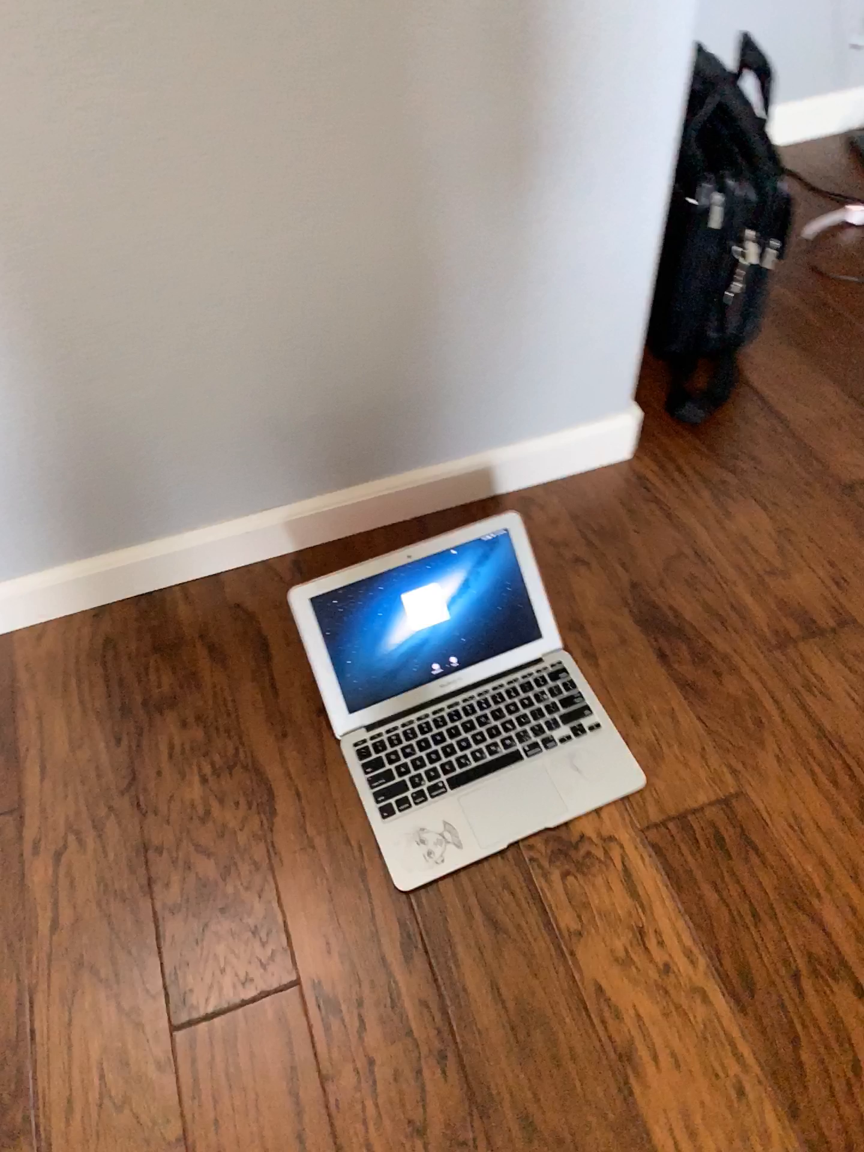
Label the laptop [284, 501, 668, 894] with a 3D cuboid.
[{"bbox_3d":[0.034,0.115,0.958,0.292,0.117,0.324,-20,54,-12],"label":"laptop"}]
